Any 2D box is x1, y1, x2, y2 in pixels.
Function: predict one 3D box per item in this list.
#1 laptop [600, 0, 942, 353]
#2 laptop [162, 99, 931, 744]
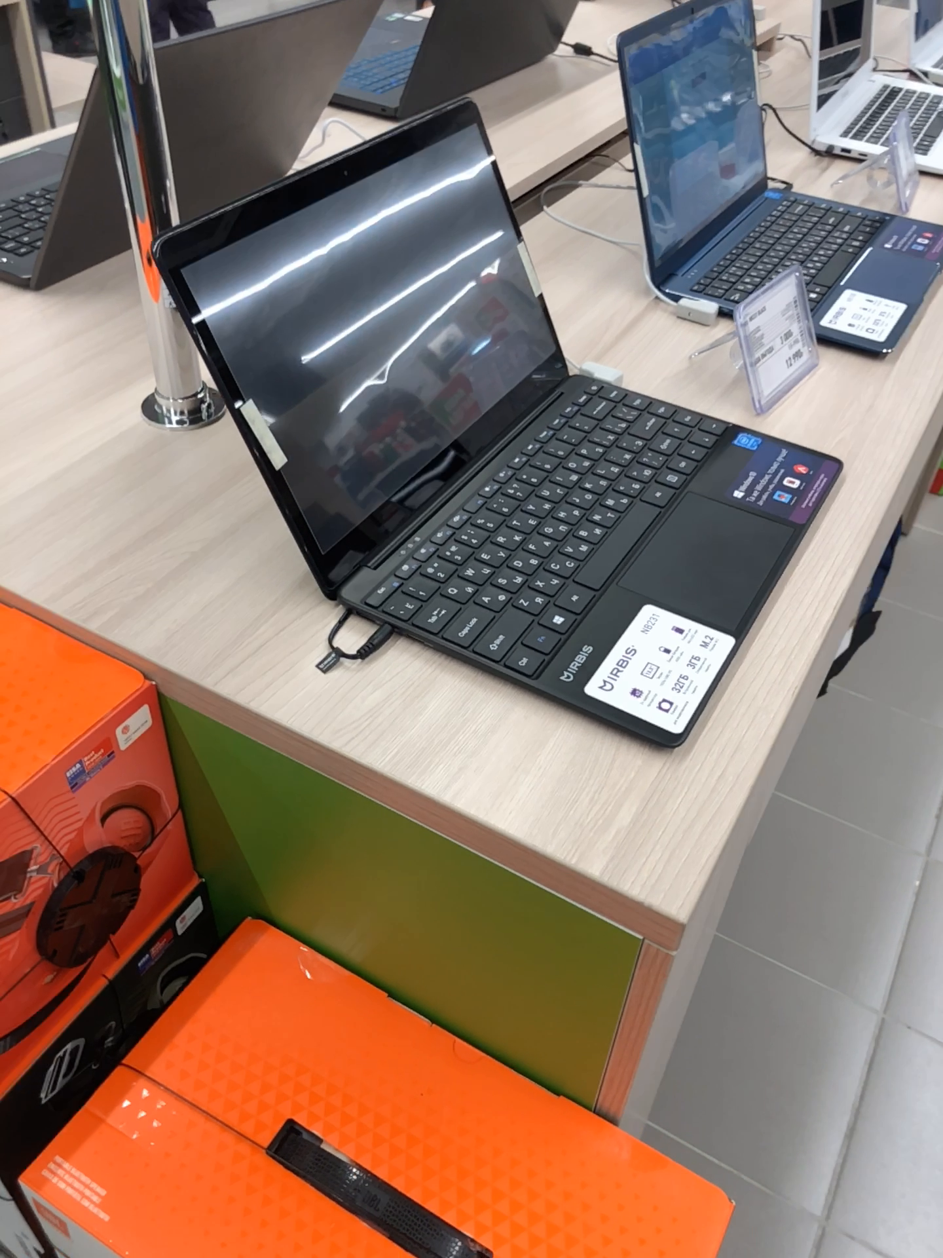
[{"bbox_3d":[0.310,-0.431,0.930,0.265,0.186,0.309,23,45,22],"label":"laptop"},{"bbox_3d":[0.053,-0.152,0.608,0.306,0.172,0.305,23,46,20],"label":"laptop"}]
